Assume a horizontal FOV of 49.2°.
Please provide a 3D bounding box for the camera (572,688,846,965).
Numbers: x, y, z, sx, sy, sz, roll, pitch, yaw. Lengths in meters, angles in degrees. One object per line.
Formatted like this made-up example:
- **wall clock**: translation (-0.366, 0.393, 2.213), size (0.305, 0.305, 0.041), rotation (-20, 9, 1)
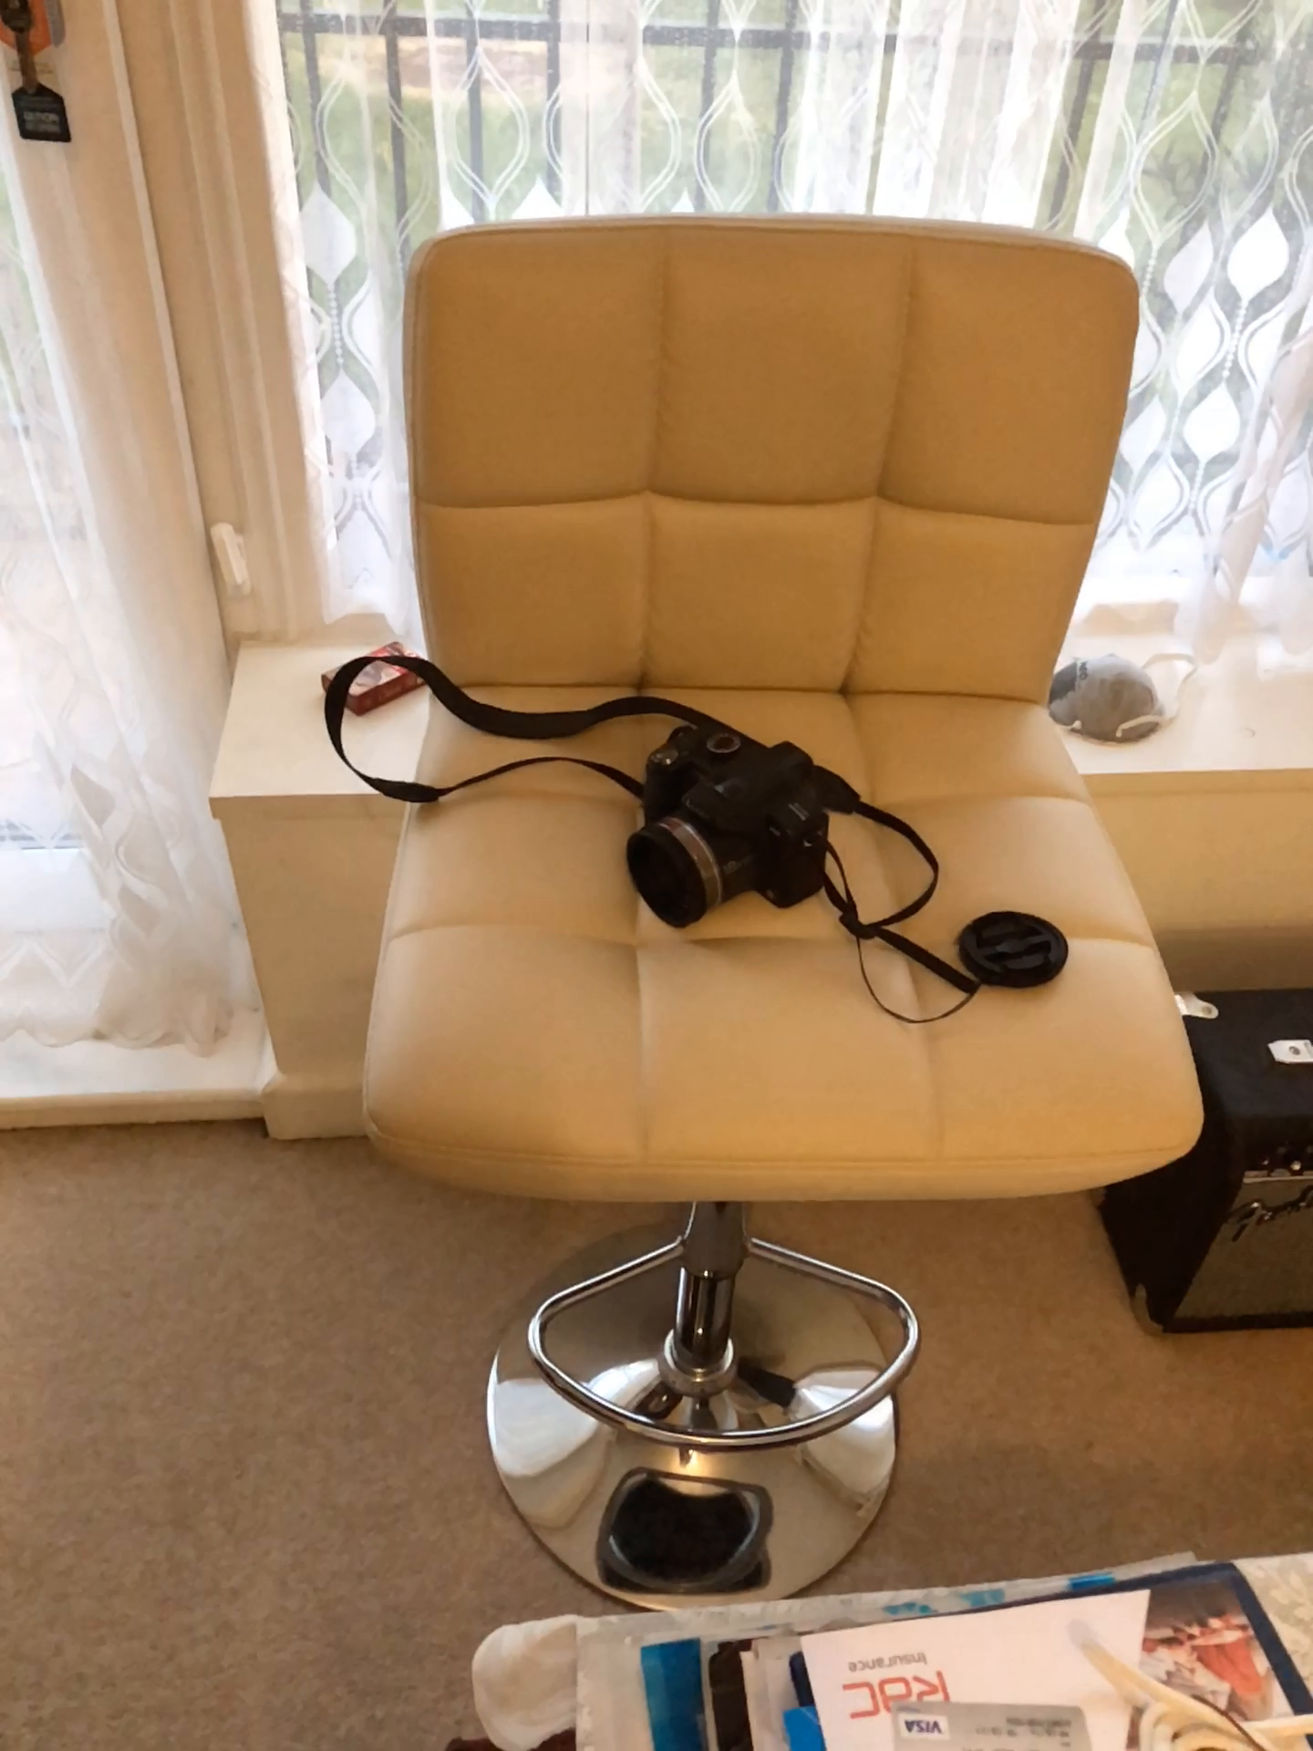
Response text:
- **camera**: translation (0.027, -0.030, 0.796), size (0.097, 0.076, 0.112), rotation (-31, 52, -32)
